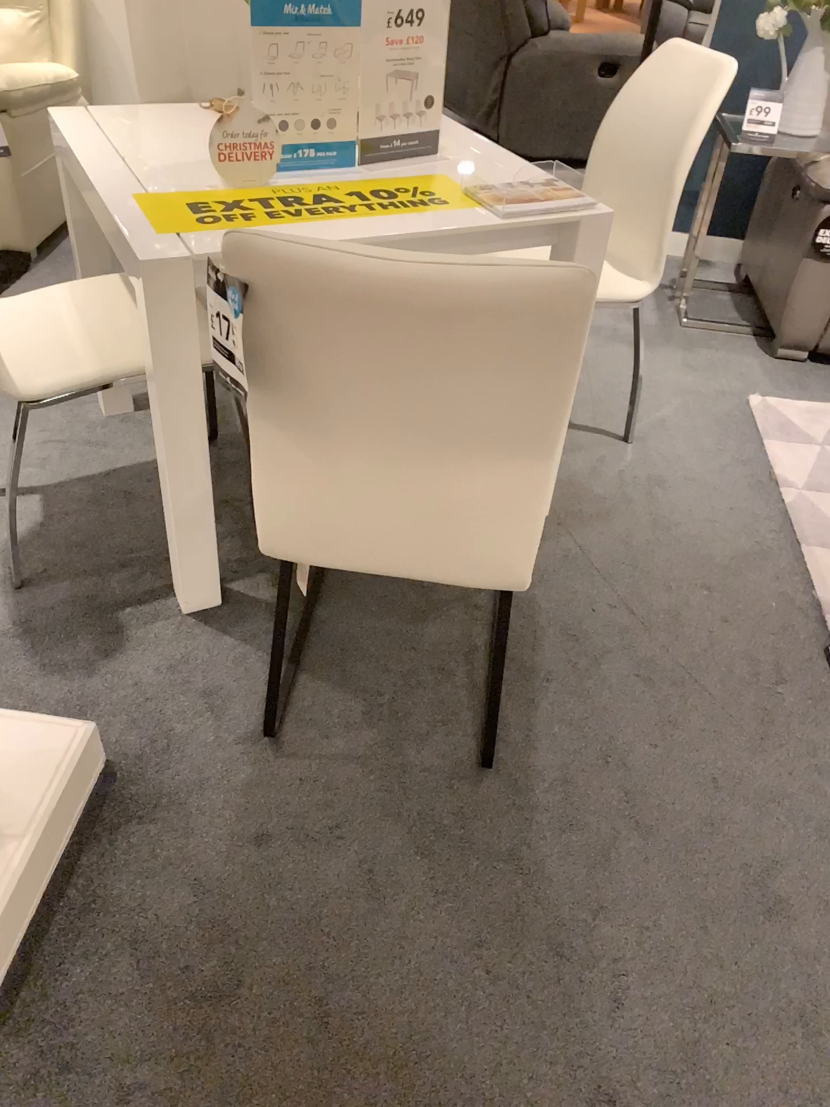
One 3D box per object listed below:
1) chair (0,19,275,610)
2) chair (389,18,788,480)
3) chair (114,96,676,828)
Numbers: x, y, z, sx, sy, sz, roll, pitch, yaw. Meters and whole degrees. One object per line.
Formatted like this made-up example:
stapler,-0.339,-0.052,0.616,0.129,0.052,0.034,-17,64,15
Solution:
chair,-0.692,-0.479,1.665,0.642,0.901,0.524,-18,45,-26
chair,0.342,-0.750,2.080,0.601,0.881,0.555,-12,43,-21
chair,-0.023,-0.132,1.327,0.540,0.881,0.636,7,39,2
